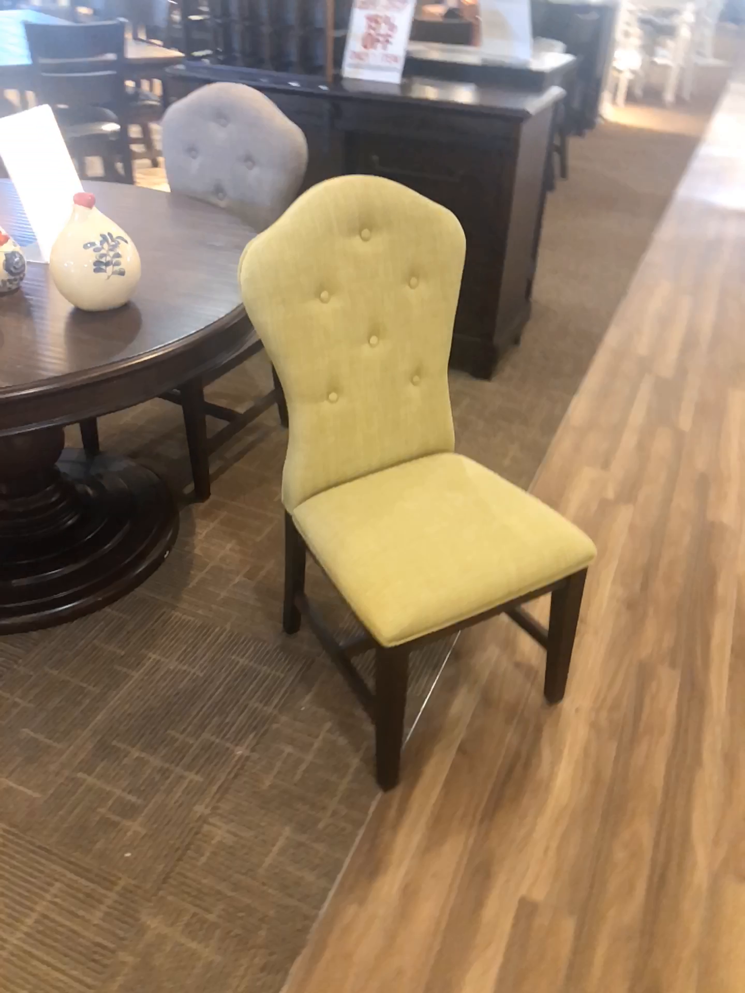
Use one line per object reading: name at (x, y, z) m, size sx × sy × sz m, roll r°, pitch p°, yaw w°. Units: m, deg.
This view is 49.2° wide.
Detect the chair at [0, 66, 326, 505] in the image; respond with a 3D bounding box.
chair at (-0.511, -0.600, 2.263) m, size 0.508 × 0.950 × 0.638 m, roll 19°, pitch 38°, yaw 21°

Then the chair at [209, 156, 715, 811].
chair at (0.098, -0.045, 1.576) m, size 0.540 × 0.979 × 0.617 m, roll -19°, pitch 41°, yaw -27°

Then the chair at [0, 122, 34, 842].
chair at (-1.086, -0.039, 1.390) m, size 0.519 × 0.960 × 0.578 m, roll 21°, pitch 39°, yaw 24°
